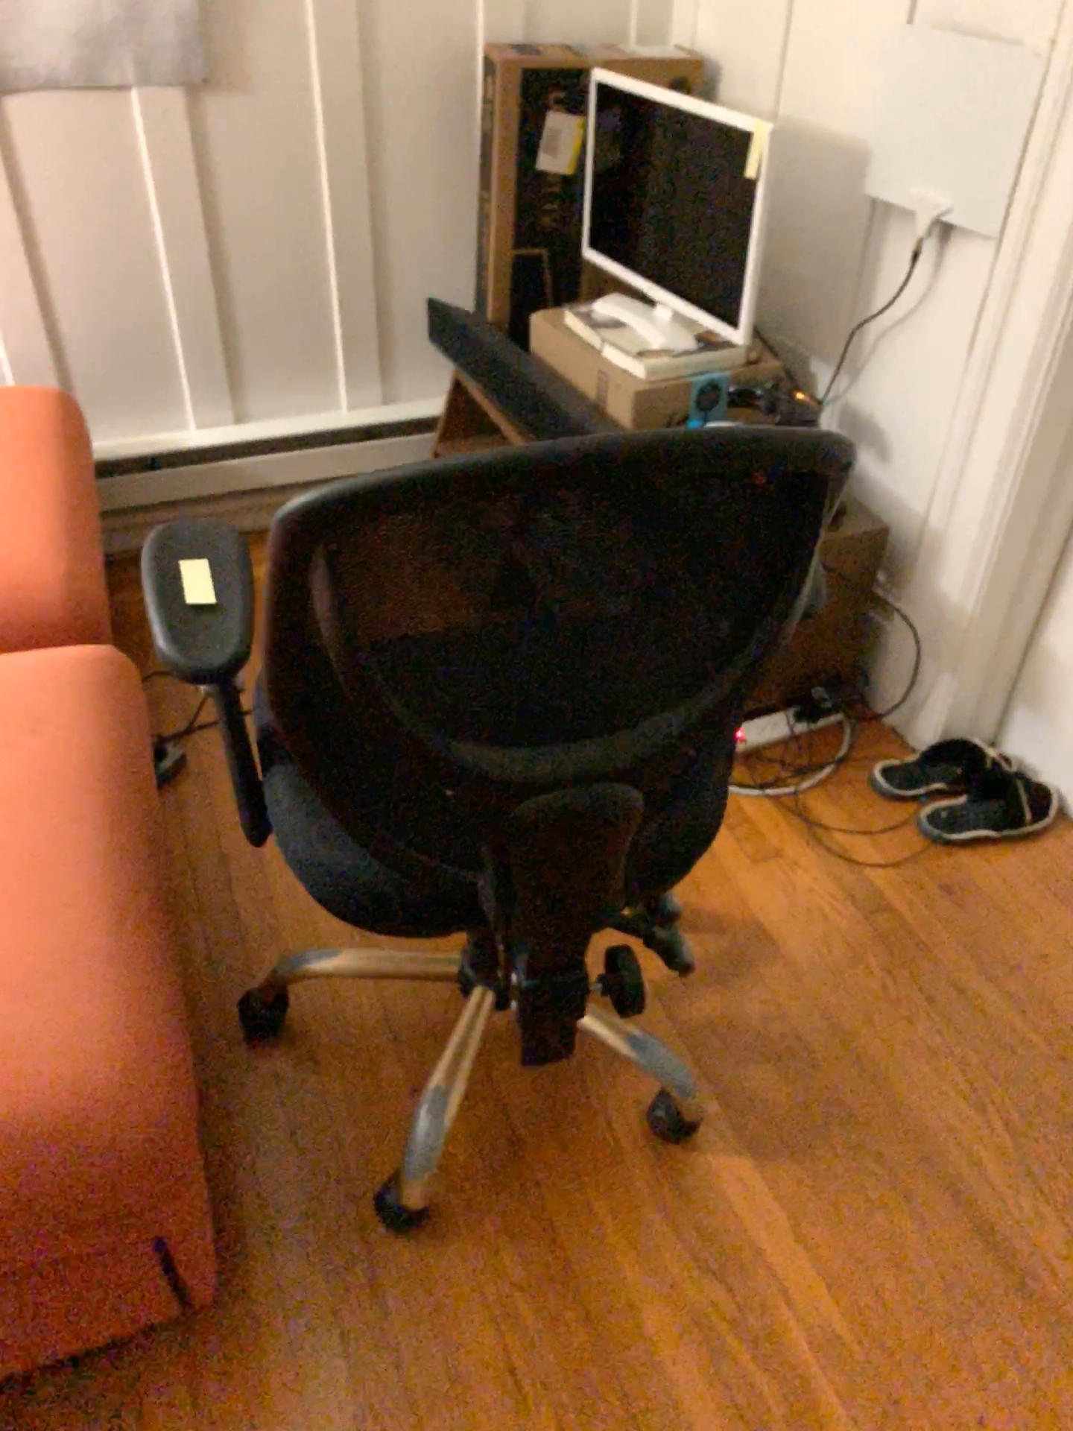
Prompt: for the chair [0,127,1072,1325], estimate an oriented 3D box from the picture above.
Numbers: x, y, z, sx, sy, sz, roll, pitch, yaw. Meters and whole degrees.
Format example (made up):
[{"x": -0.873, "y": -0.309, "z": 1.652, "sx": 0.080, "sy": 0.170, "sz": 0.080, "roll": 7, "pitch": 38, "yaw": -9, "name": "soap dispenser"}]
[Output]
[{"x": -0.064, "y": 0.038, "z": 1.119, "sx": 0.640, "sy": 0.974, "sz": 0.664, "roll": -4, "pitch": 44, "yaw": -8, "name": "chair"}]
